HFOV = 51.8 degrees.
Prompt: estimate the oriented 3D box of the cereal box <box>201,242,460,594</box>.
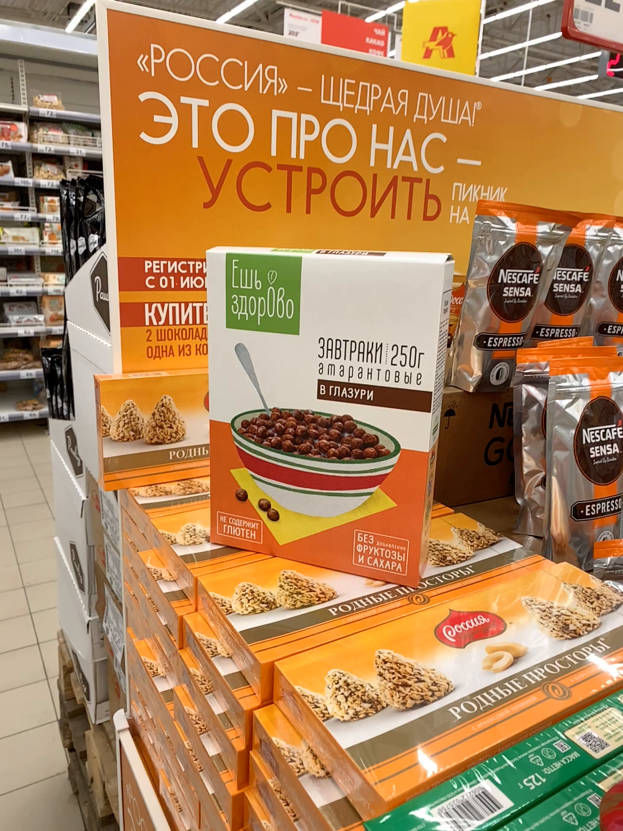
[{"bbox_3d":[0.009,-0.005,0.527,0.190,0.259,0.060,8,16,20],"label":"cereal box"}]
